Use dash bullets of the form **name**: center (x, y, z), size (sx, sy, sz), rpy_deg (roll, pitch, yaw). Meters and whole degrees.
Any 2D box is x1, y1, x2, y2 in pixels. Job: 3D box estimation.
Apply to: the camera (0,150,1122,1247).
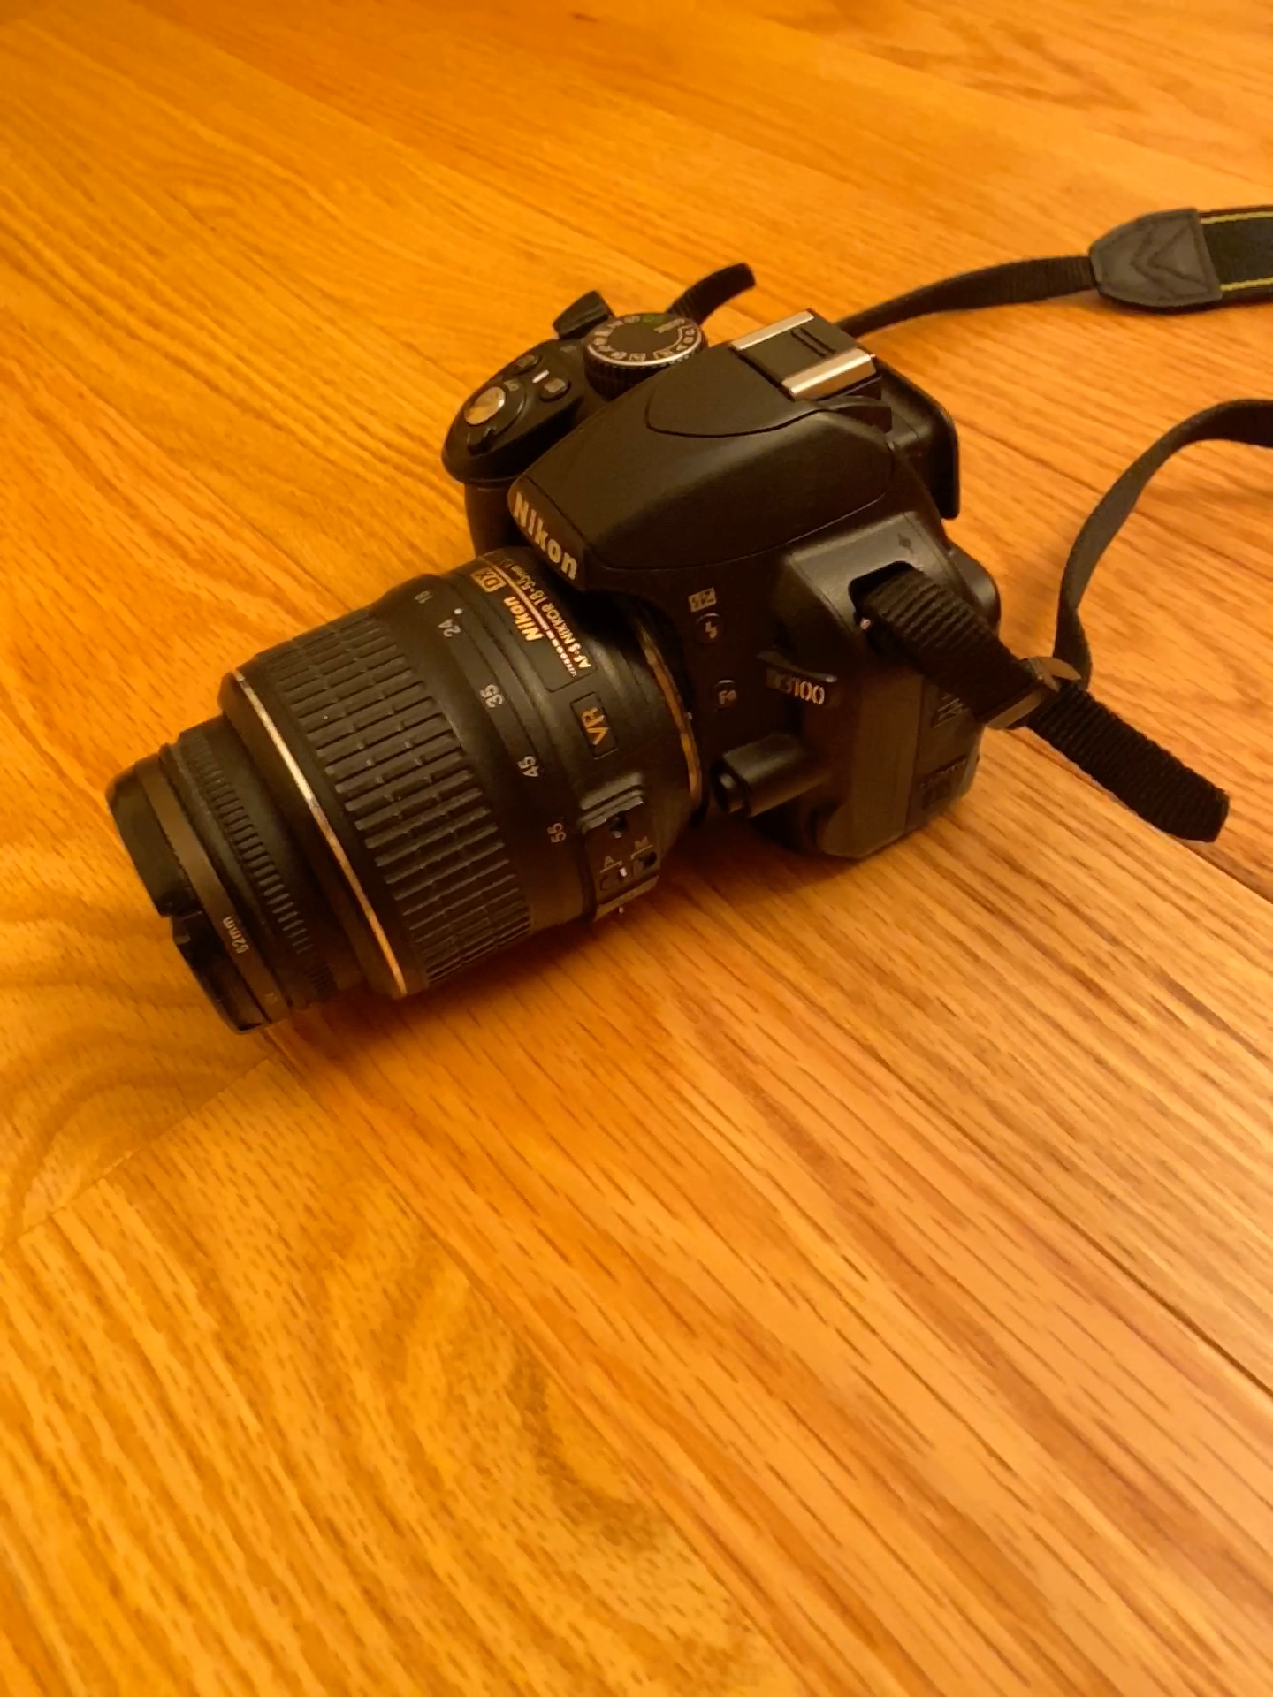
- **camera**: center (-0.022, -0.038, 0.258), size (0.160, 0.099, 0.130), rpy_deg (-30, 55, -17)
